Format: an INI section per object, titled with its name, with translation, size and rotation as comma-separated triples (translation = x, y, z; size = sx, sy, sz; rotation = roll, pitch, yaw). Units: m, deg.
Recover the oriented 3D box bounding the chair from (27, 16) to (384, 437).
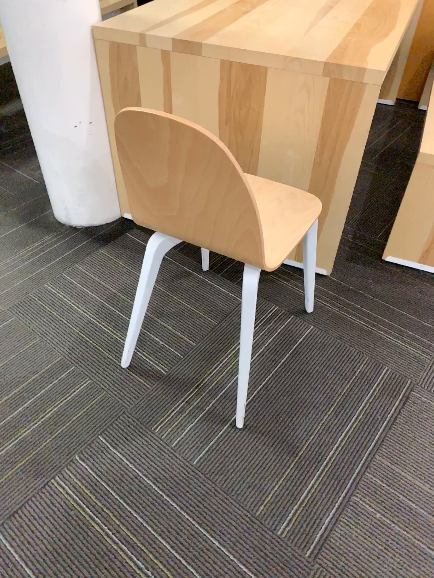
[chair]
translation = 0.008, -0.153, 1.159
size = 0.501, 0.815, 0.552
rotation = 21, 47, 19
